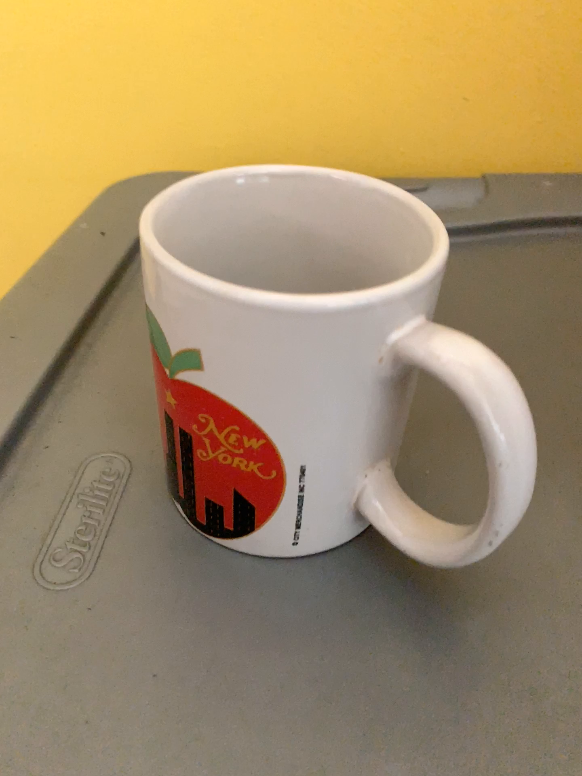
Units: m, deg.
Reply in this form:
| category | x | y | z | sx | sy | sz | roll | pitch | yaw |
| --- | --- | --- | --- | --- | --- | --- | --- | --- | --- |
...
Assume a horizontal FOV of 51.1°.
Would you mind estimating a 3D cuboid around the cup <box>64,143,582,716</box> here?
| category | x | y | z | sx | sy | sz | roll | pitch | yaw |
| --- | --- | --- | --- | --- | --- | --- | --- | --- | --- |
| cup | 0.012 | -0.001 | 0.187 | 0.097 | 0.095 | 0.118 | -29 | 49 | -32 |
